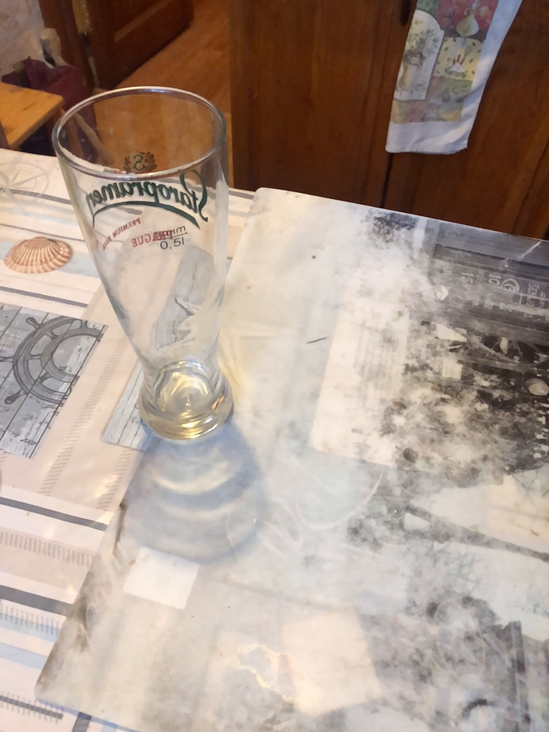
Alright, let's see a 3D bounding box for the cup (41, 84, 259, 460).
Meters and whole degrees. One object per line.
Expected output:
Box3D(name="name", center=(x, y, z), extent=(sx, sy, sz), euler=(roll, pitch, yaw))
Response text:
Box3D(name="cup", center=(-0.061, -0.044, 0.354), extent=(0.088, 0.192, 0.099), euler=(-7, 51, -7))
